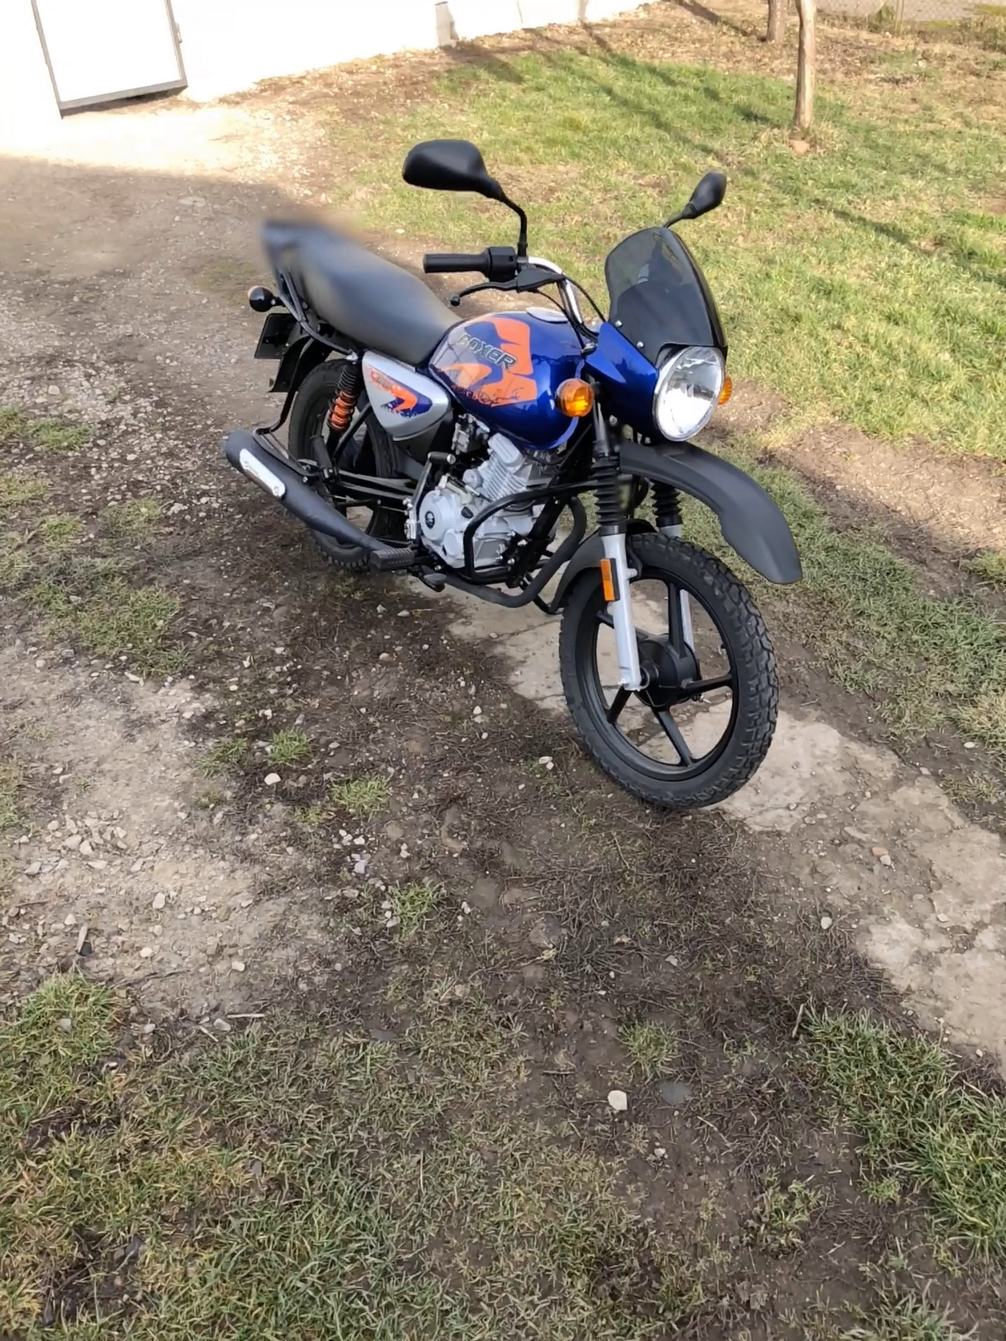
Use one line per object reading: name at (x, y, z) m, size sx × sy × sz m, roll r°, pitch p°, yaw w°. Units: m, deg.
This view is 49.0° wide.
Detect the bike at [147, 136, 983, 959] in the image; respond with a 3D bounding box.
bike at (0.006, -0.464, 2.589) m, size 0.809 × 1.049 × 1.786 m, roll -25°, pitch 43°, yaw -28°
